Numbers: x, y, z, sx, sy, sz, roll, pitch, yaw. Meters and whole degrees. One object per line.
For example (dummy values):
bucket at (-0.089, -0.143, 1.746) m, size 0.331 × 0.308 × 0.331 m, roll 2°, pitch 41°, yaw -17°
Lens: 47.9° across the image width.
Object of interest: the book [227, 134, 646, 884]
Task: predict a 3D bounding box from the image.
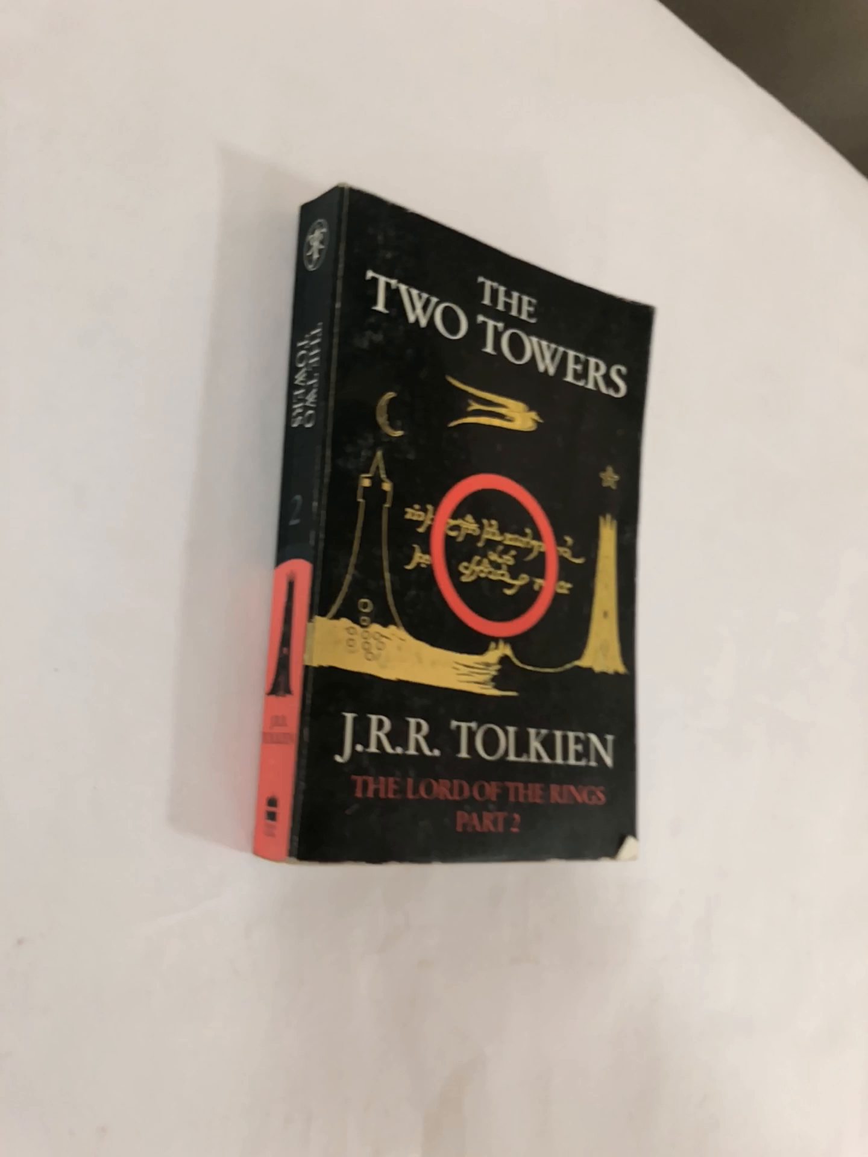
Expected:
book at (0.010, -0.014, 0.302) m, size 0.131 × 0.030 × 0.200 m, roll 10°, pitch 76°, yaw -37°
